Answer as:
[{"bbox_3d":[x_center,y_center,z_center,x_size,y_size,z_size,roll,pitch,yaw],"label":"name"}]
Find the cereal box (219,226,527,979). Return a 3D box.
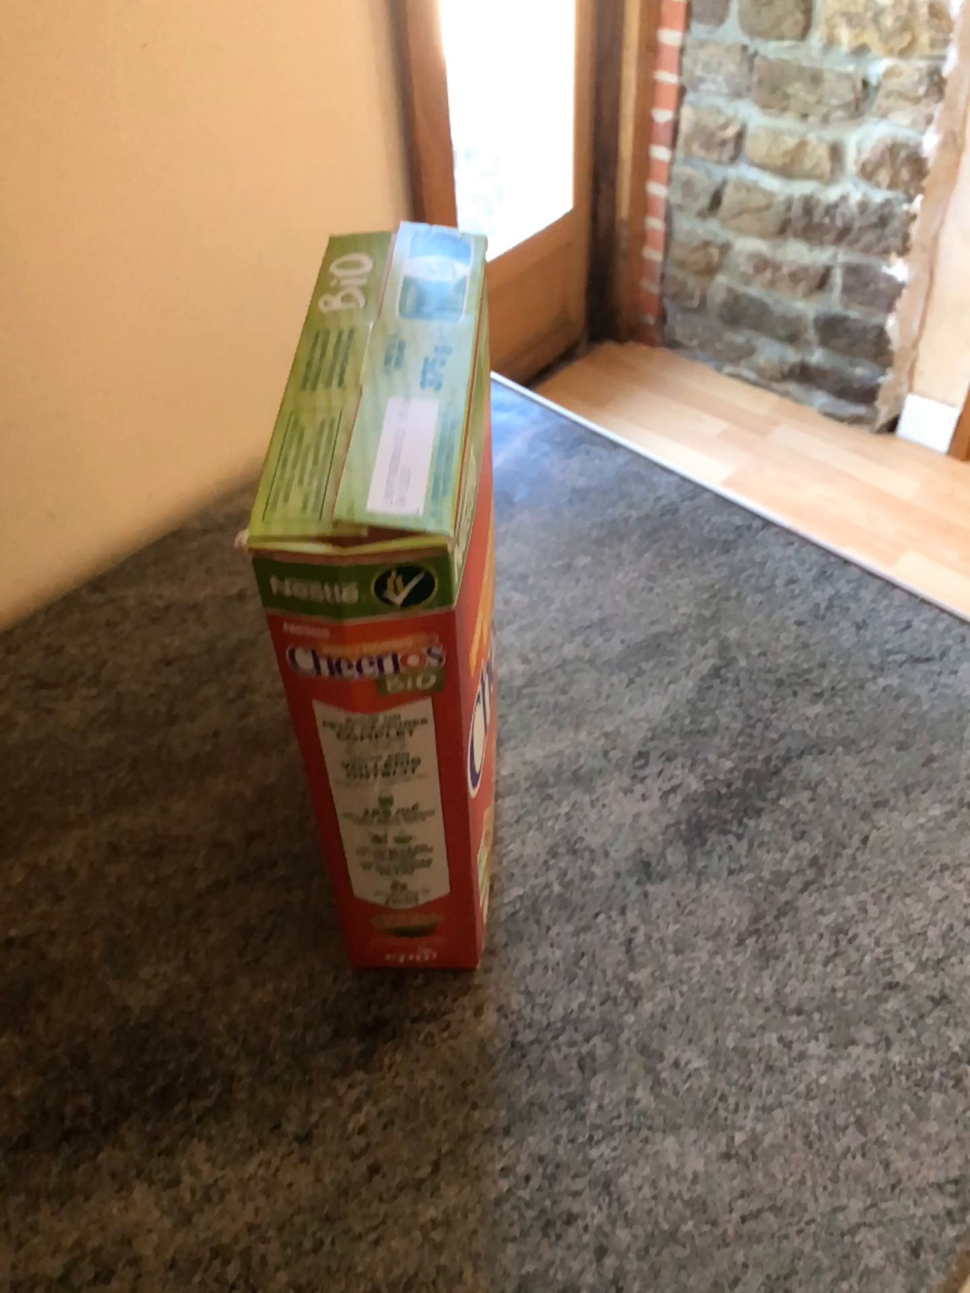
[{"bbox_3d":[-0.025,-0.010,0.465,0.080,0.258,0.201,1,47,4],"label":"cereal box"}]
